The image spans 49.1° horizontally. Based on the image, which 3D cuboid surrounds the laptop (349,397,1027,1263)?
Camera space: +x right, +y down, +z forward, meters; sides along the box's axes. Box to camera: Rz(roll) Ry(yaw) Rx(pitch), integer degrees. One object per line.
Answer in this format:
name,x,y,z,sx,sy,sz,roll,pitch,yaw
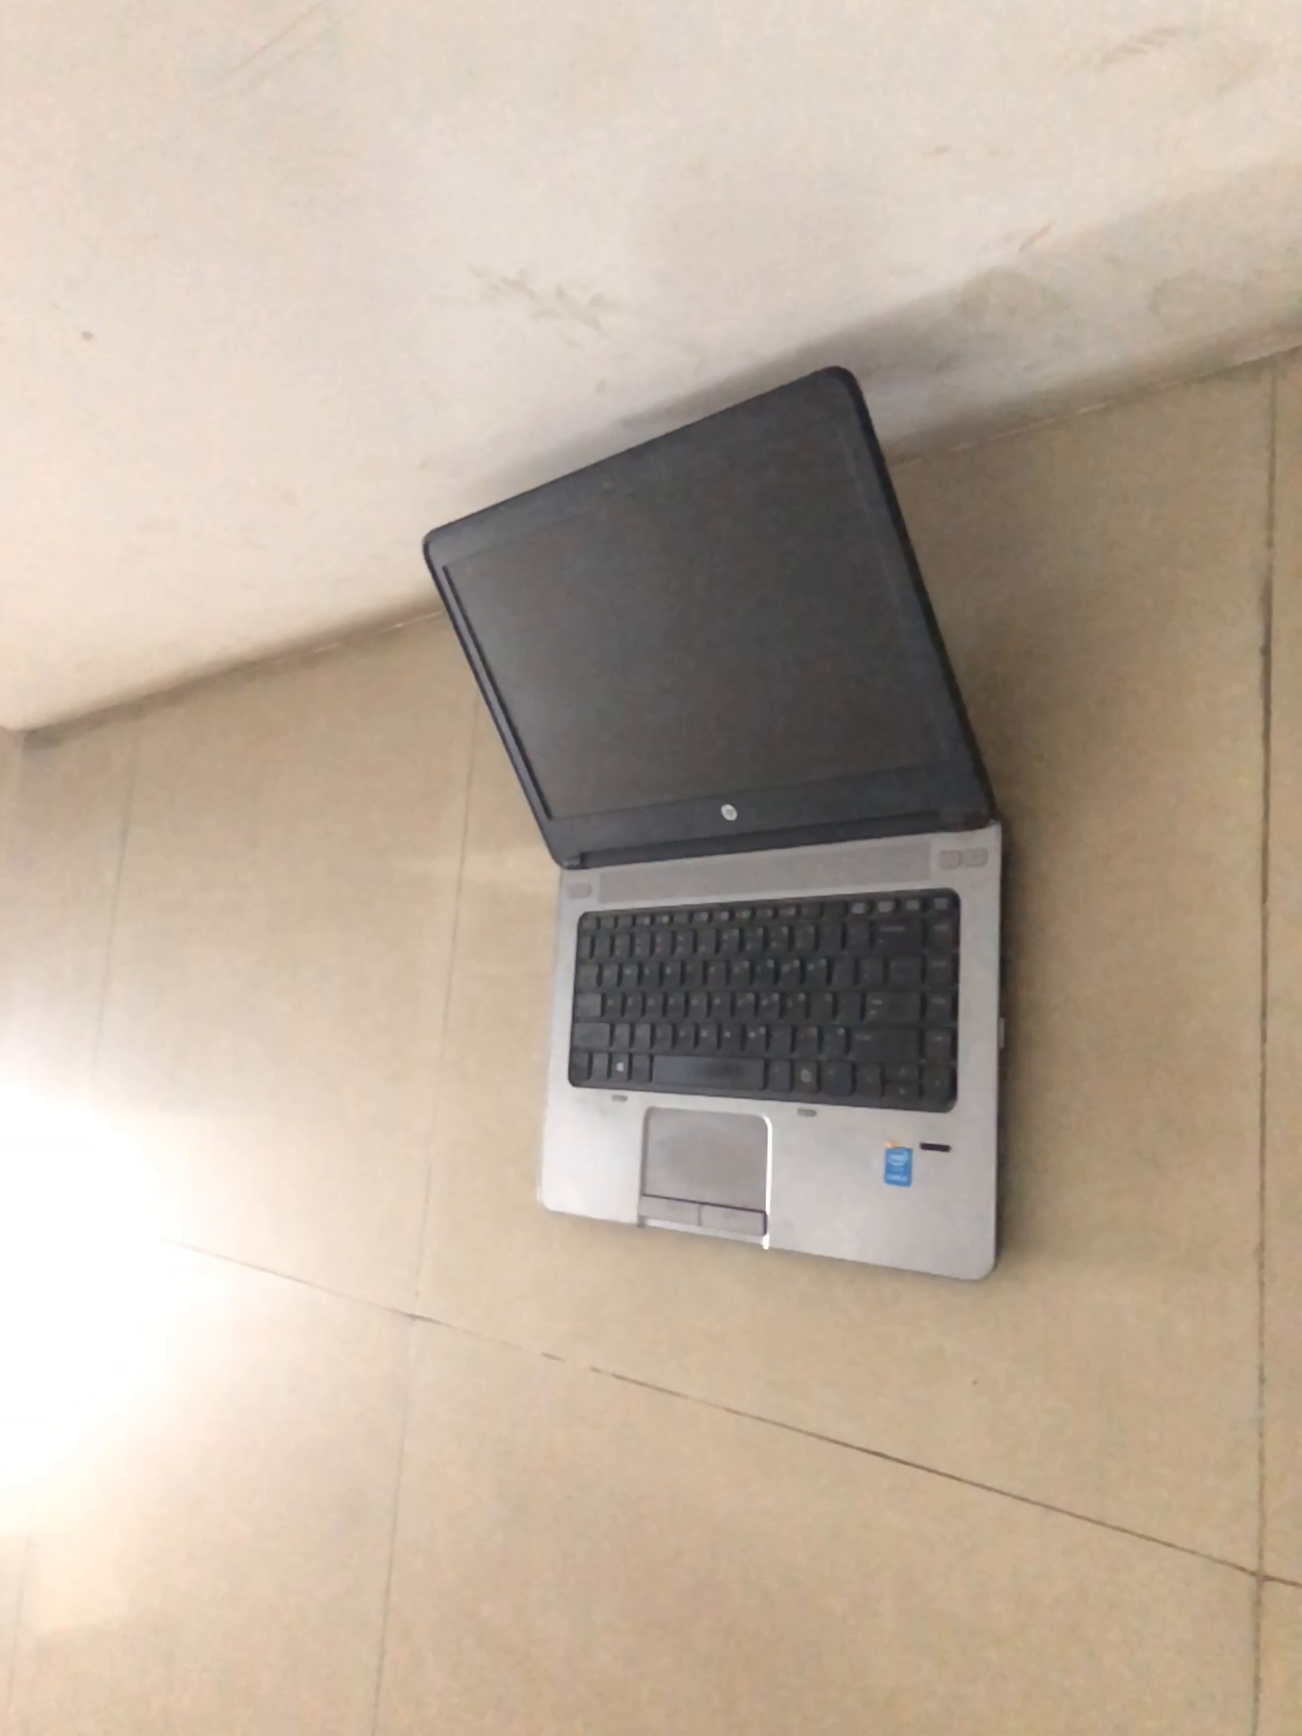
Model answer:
laptop,0.013,-0.006,0.780,0.319,0.146,0.385,-5,75,46
